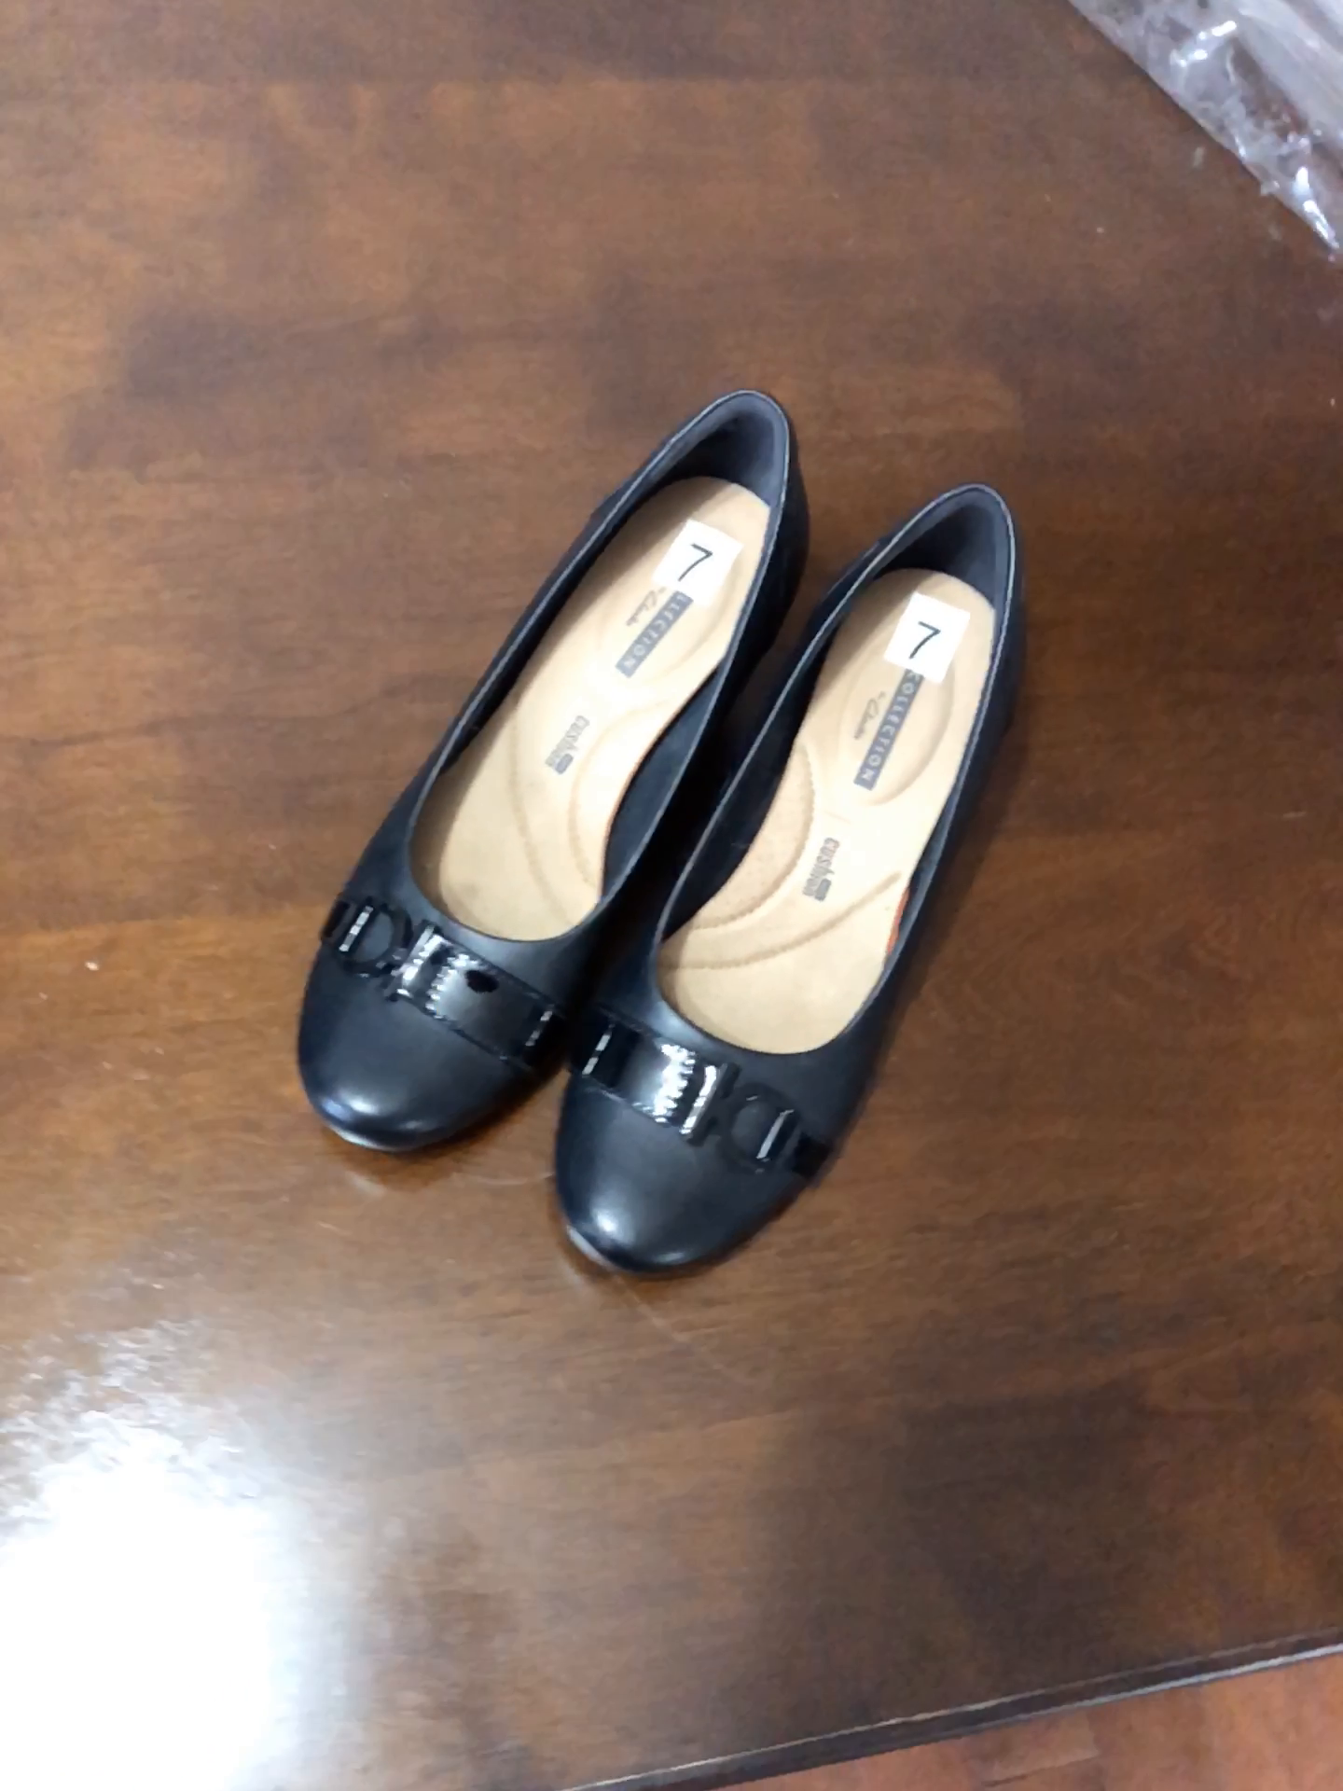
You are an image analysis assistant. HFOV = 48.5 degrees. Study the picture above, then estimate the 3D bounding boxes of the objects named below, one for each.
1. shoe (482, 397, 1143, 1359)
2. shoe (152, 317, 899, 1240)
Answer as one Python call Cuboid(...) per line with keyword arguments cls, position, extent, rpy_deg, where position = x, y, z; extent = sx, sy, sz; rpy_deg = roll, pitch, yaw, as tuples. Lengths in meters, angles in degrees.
Cuboid(cls="shoe", position=(0.042, -0.007, 0.442), extent=(0.090, 0.110, 0.250), rpy_deg=(25, 65, 4))
Cuboid(cls="shoe", position=(-0.034, -0.038, 0.455), extent=(0.090, 0.110, 0.250), rpy_deg=(28, 65, 5))
